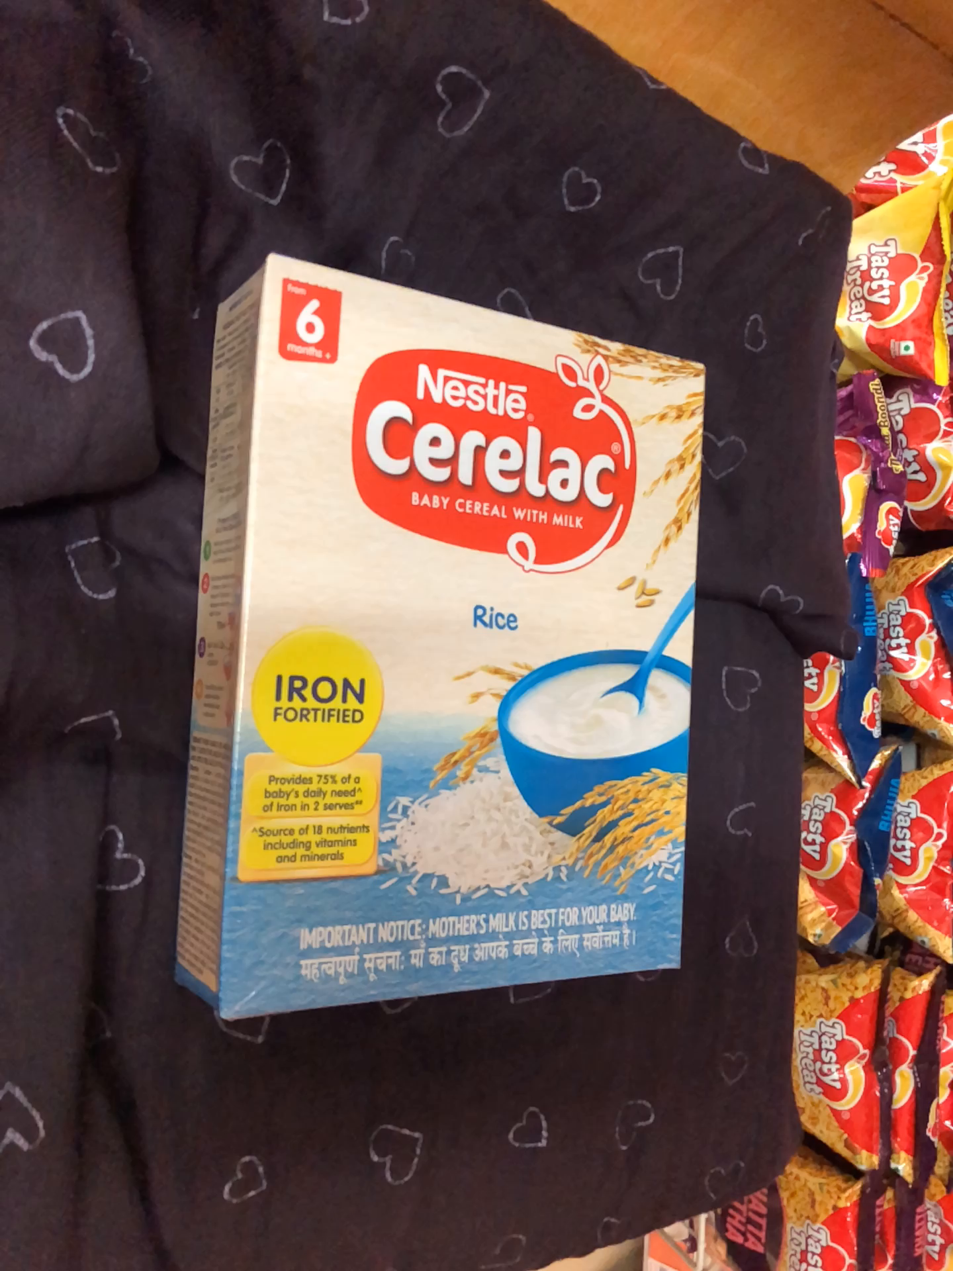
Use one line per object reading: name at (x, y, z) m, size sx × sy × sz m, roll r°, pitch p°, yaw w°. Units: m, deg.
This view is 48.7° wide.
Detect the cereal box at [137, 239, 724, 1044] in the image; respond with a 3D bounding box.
cereal box at (-0.010, 0.005, 0.332) m, size 0.160 × 0.070 × 0.200 m, roll 4°, pitch 87°, yaw -31°
